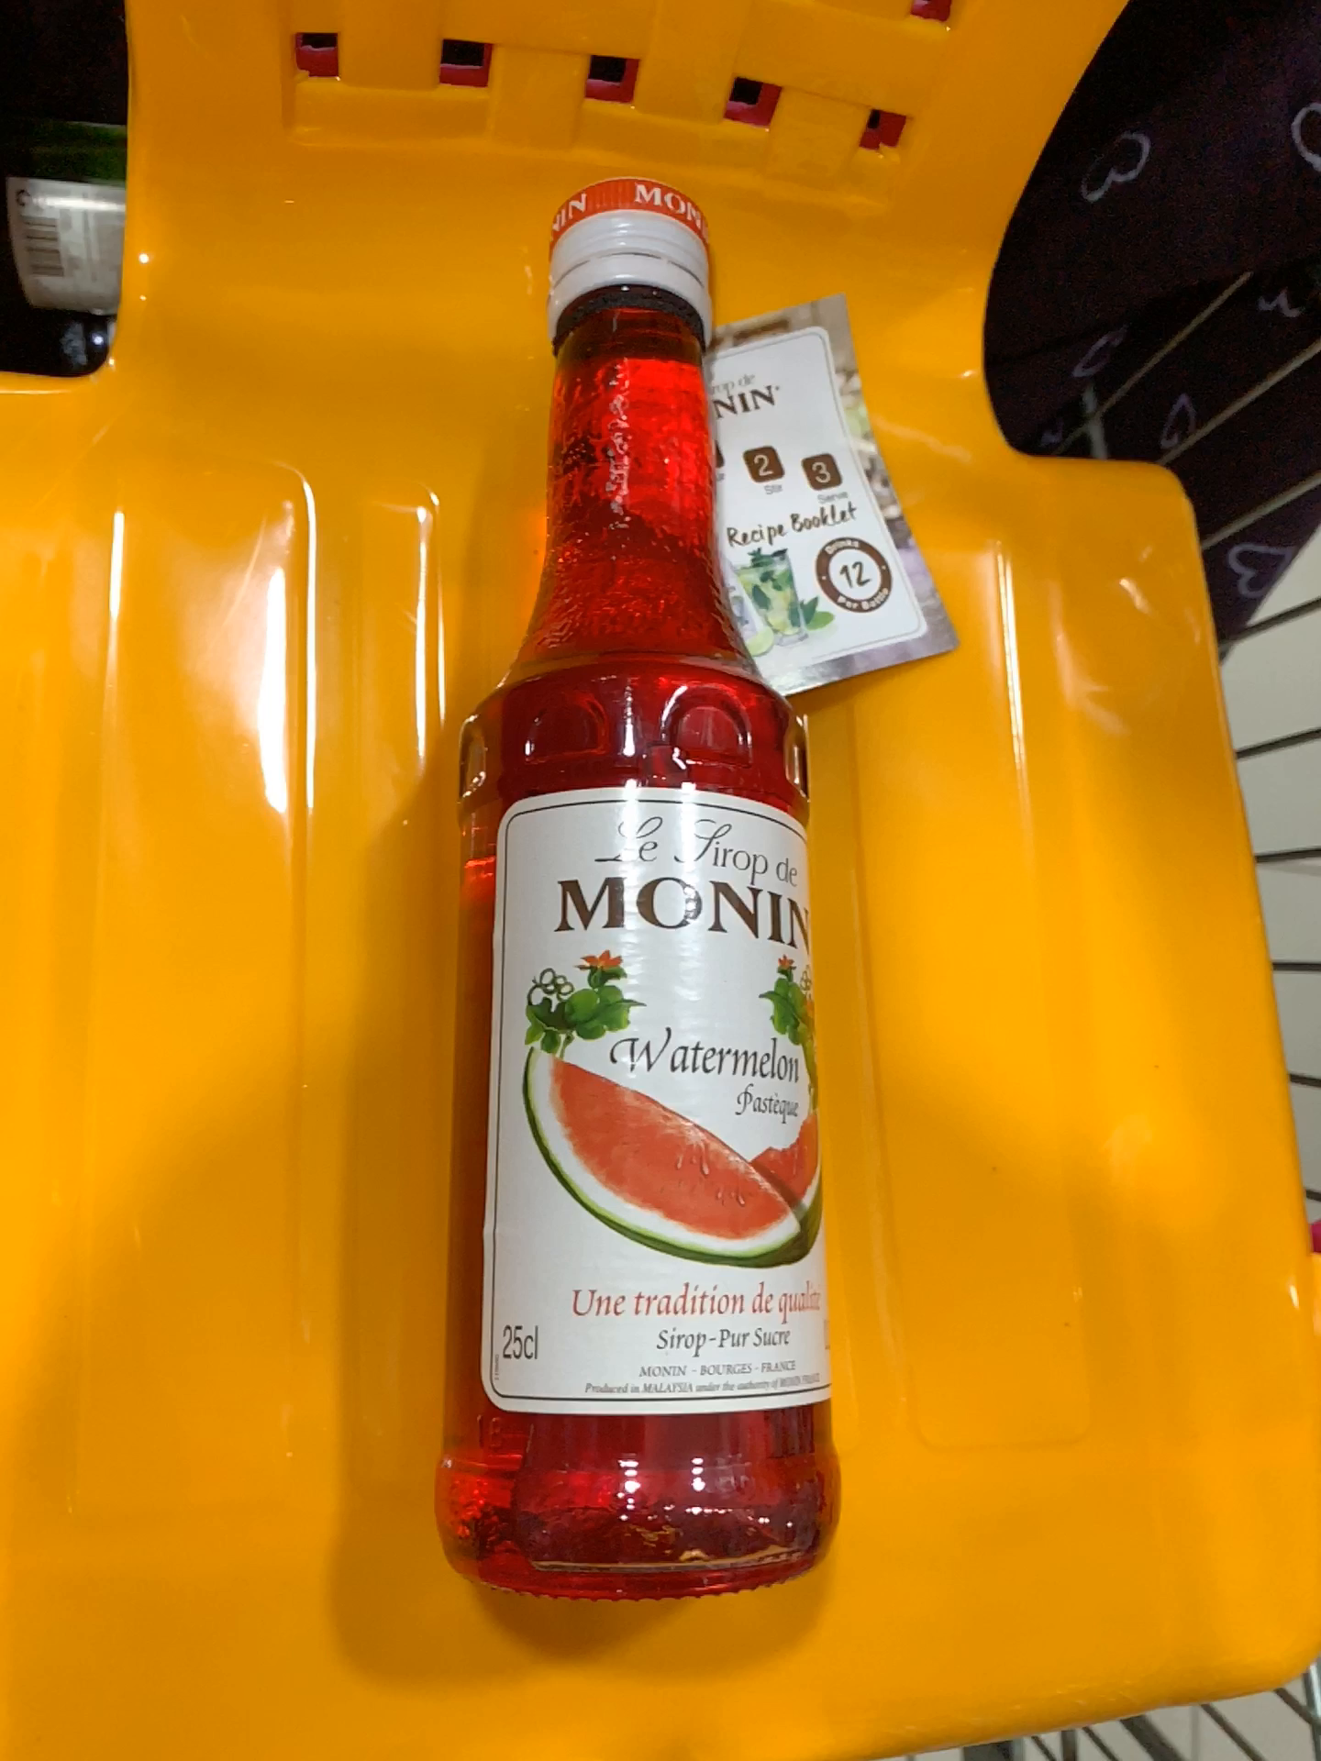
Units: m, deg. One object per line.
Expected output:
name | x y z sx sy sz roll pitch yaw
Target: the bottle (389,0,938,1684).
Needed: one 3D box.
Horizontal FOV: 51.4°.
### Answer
bottle | -0.001 -0.013 0.214 0.060 0.050 0.230 6 75 -22
